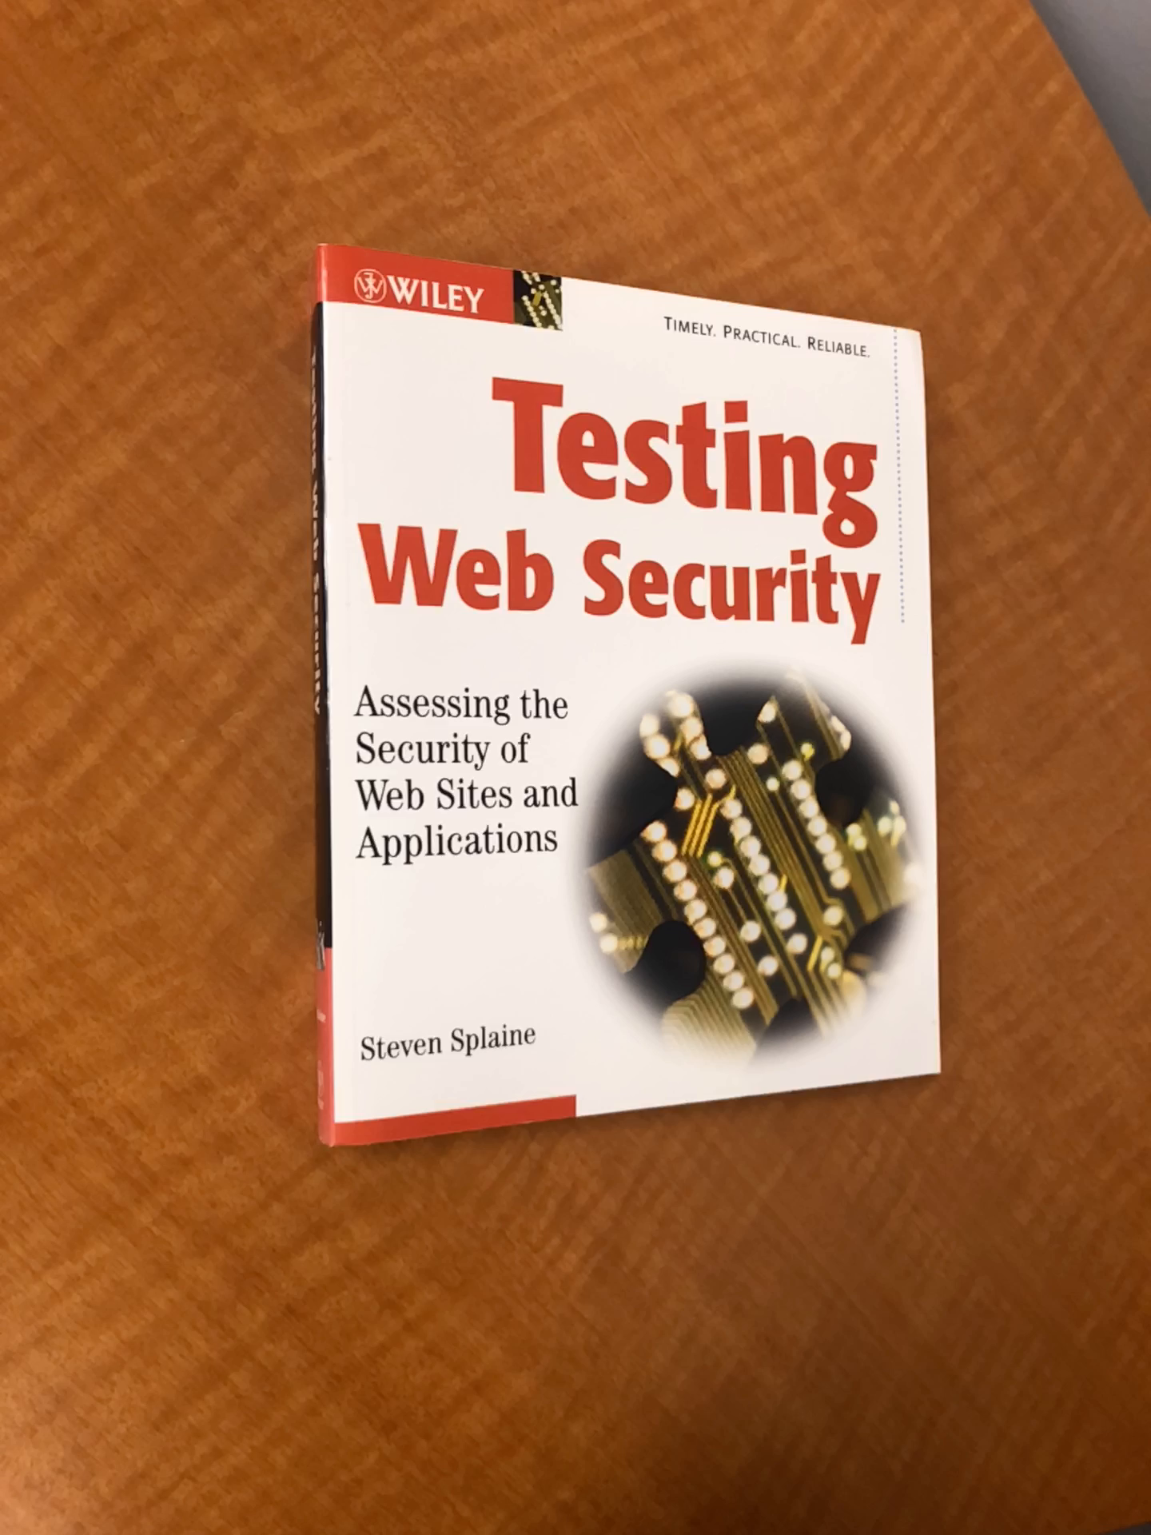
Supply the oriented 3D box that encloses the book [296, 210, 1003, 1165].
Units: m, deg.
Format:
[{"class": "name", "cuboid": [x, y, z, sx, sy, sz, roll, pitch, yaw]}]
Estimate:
[{"class": "book", "cuboid": [0.026, -0.021, 0.358, 0.201, 0.030, 0.230, 0, 87, -23]}]
